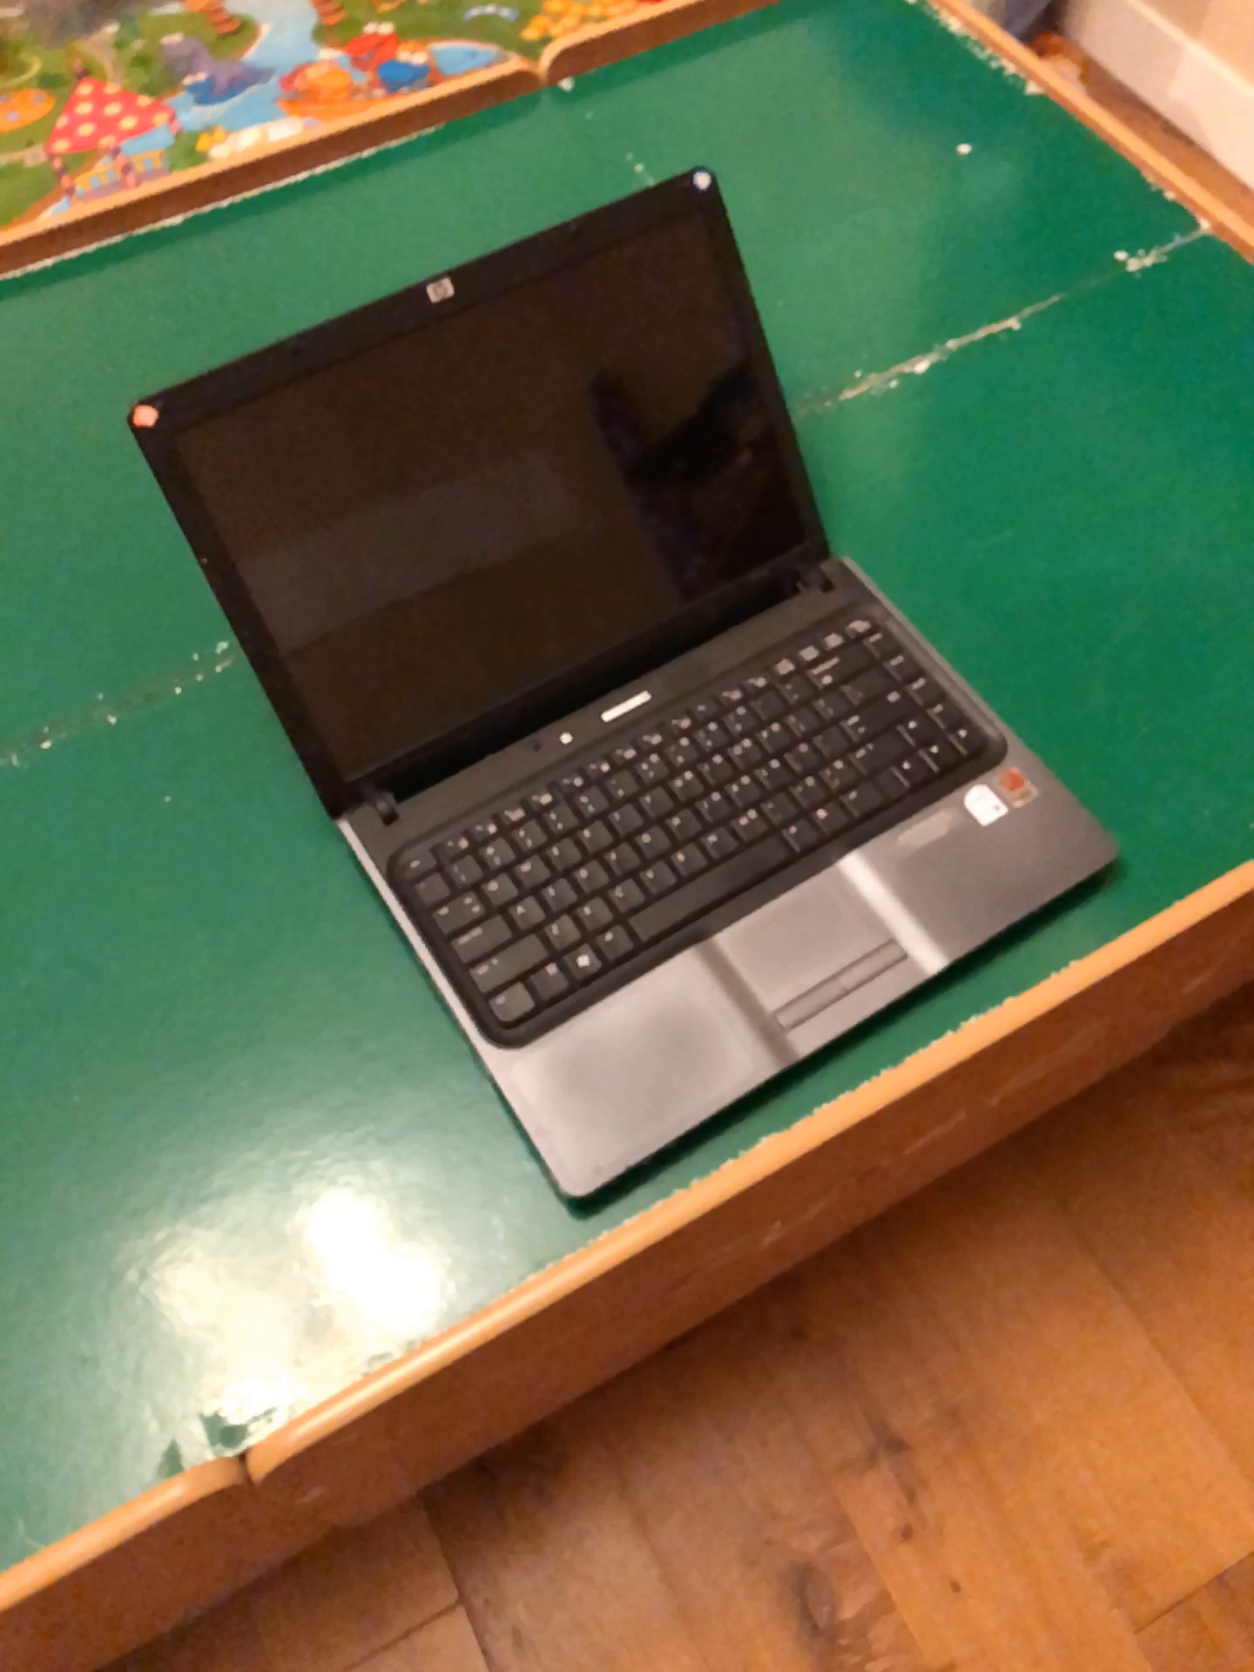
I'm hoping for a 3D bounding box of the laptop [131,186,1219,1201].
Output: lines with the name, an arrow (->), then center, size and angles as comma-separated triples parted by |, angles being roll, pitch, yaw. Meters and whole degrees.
laptop -> 0.006, -0.089, 0.677 | 0.323, 0.172, 0.375 | -29, 63, -15
